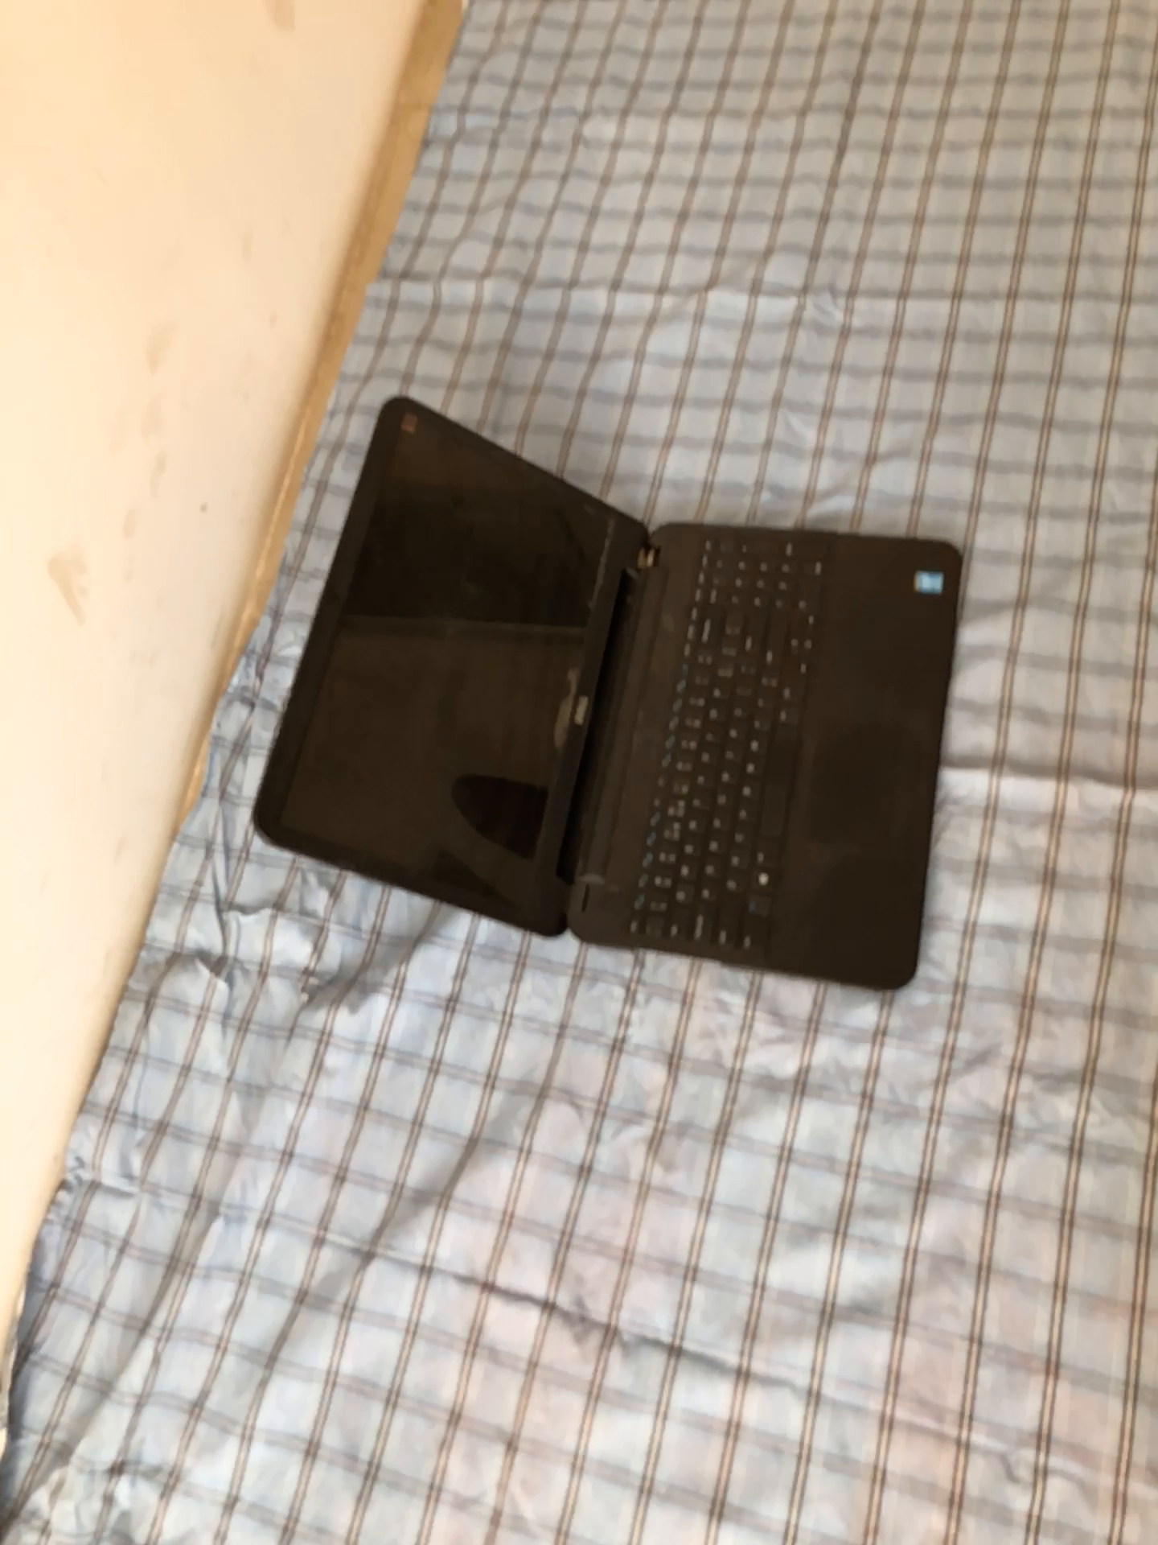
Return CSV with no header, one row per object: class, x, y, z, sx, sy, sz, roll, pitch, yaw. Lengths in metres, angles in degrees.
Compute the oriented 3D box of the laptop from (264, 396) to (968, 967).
laptop,0.043,-0.078,0.909,0.413,0.164,0.356,6,67,18
